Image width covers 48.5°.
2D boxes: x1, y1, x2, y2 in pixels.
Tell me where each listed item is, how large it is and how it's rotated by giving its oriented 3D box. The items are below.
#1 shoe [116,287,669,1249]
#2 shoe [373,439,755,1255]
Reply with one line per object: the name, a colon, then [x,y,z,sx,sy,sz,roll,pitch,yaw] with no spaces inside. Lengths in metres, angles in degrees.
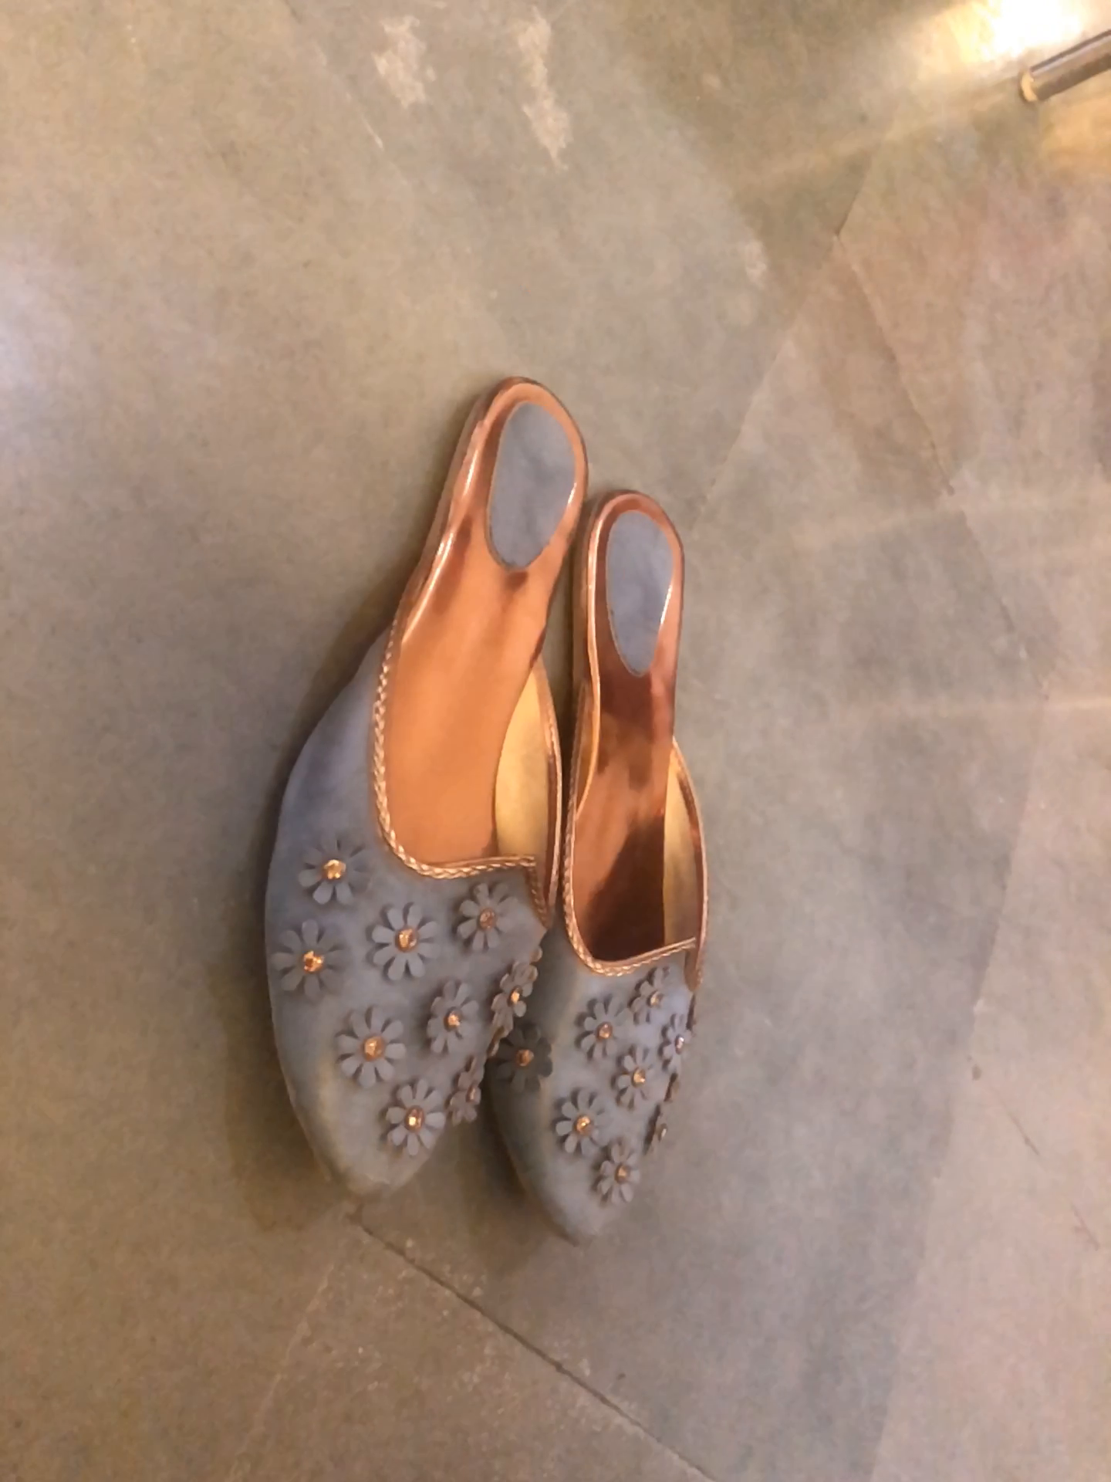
shoe: [-0.036,0.005,0.384,0.101,0.050,0.270,33,62,-44]
shoe: [0.012,0.039,0.450,0.101,0.050,0.270,26,67,-46]
